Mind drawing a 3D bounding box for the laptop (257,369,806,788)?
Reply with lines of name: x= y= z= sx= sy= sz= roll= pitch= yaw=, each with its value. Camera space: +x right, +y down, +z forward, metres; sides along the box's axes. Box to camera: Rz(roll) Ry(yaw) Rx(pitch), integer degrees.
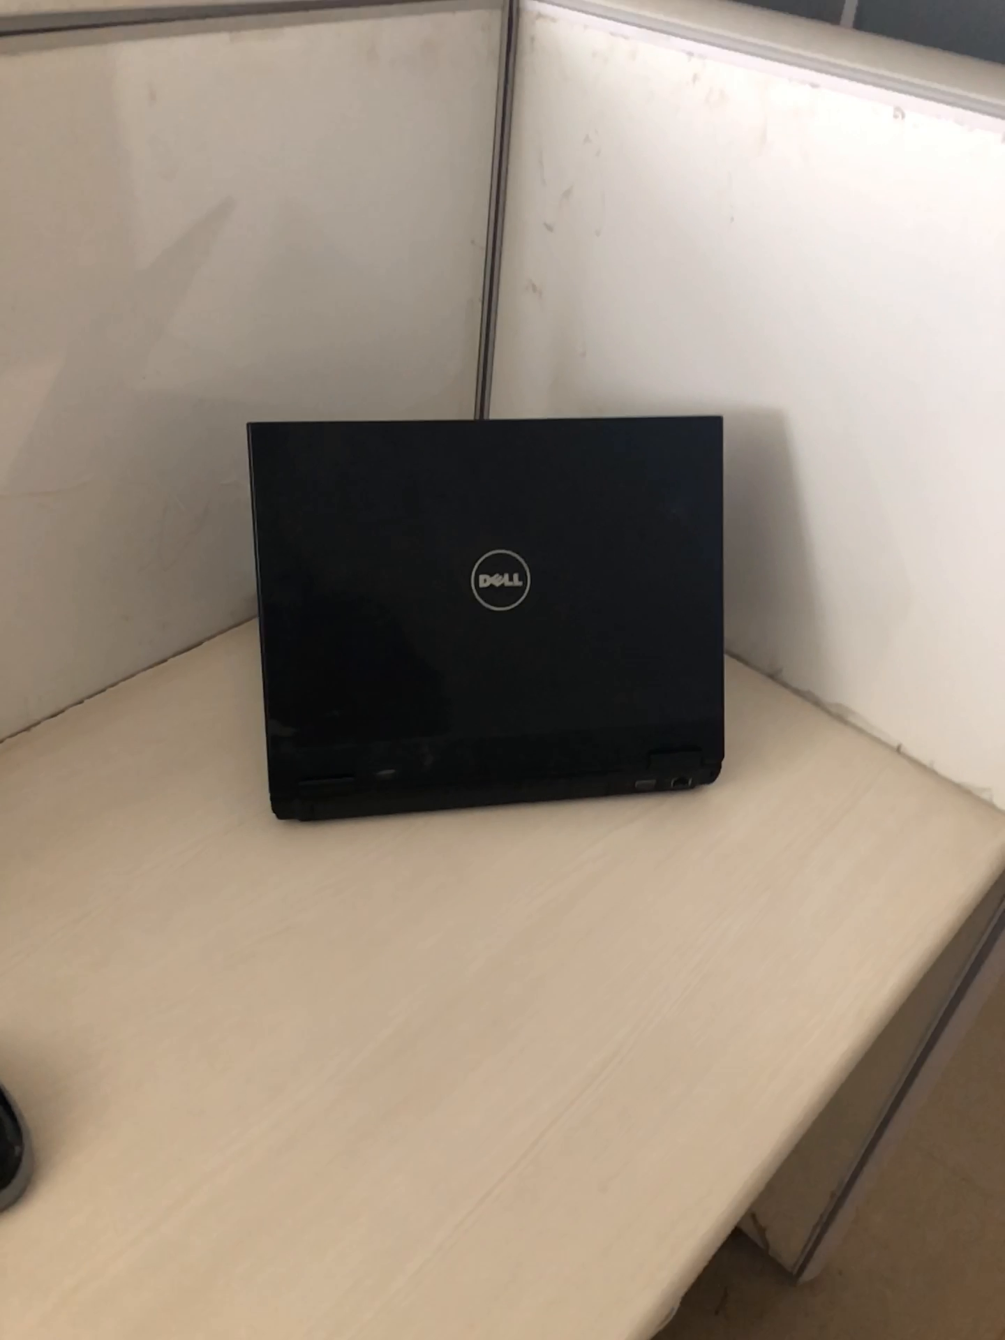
laptop: x=-0.006 y=-0.072 z=0.750 sx=0.304 sy=0.190 sz=0.231 roll=-2 pitch=37 yaw=-11
